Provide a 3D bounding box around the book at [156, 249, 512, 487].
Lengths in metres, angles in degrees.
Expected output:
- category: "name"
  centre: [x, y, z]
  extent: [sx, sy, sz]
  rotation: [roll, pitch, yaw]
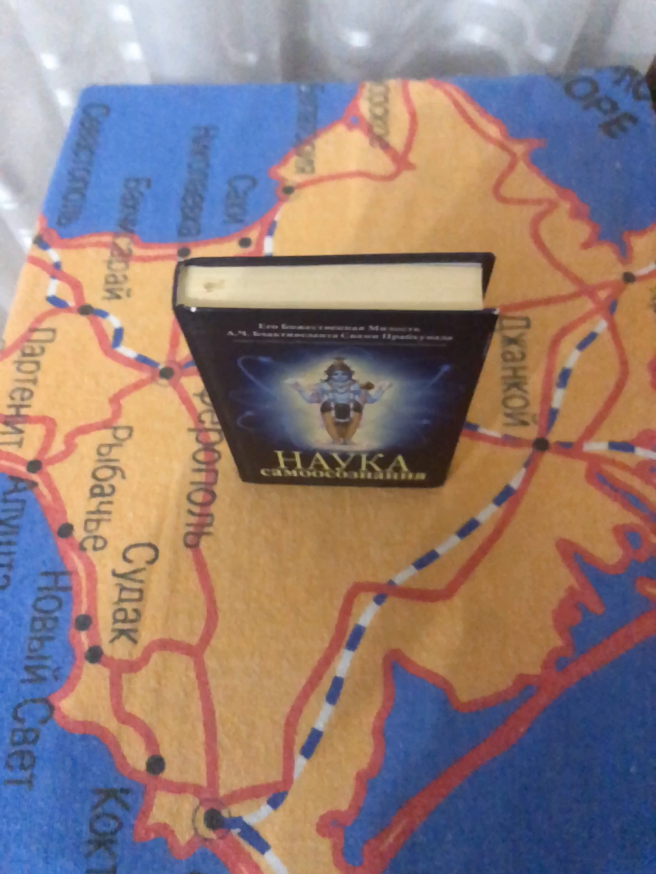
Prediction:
- category: "book"
  centre: [0.005, -0.022, 0.387]
  extent: [0.140, 0.207, 0.030]
  rotation: [0, 67, 2]
